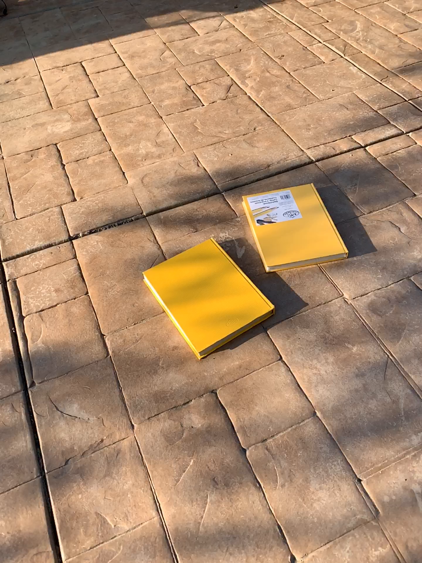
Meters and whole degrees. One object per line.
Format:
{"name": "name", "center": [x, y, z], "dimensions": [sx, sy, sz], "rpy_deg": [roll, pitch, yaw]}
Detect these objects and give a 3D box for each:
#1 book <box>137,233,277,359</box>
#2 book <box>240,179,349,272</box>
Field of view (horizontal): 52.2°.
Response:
{"name": "book", "center": [-0.016, 0.021, 1.057], "dimensions": [0.220, 0.030, 0.290], "rpy_deg": [-29, 54, -17]}
{"name": "book", "center": [0.219, -0.161, 1.183], "dimensions": [0.220, 0.030, 0.274], "rpy_deg": [-11, 54, -4]}
